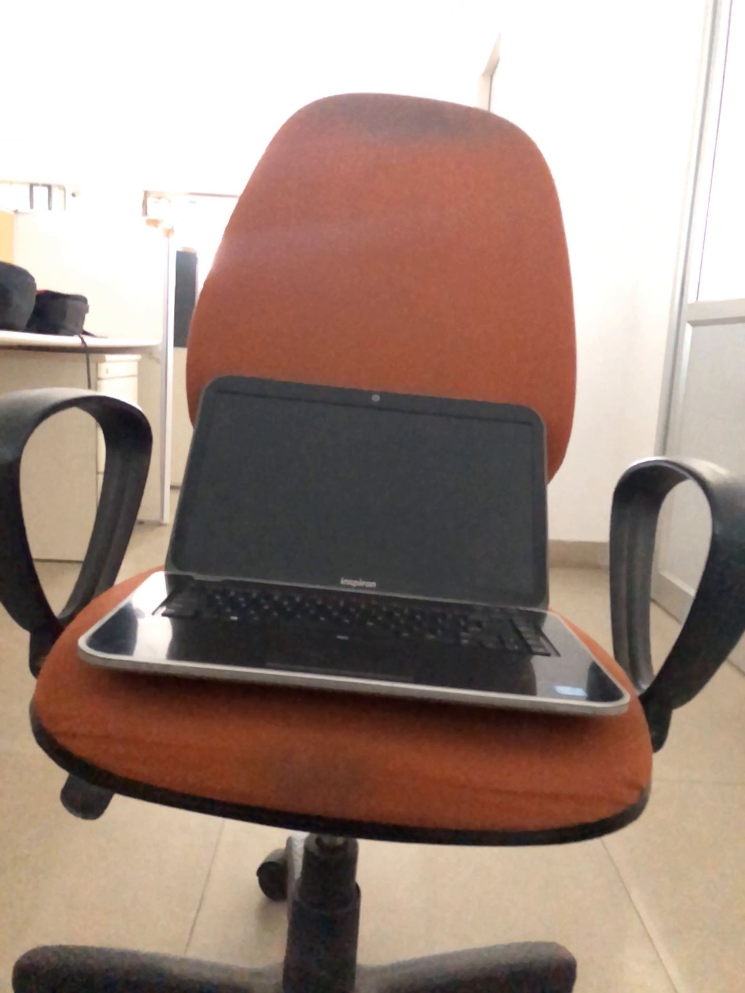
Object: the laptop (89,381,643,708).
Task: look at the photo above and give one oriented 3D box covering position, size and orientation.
[{"bbox_3d":[-0.010,0.008,0.702,0.352,0.173,0.351,4,10,1],"label":"laptop"}]
